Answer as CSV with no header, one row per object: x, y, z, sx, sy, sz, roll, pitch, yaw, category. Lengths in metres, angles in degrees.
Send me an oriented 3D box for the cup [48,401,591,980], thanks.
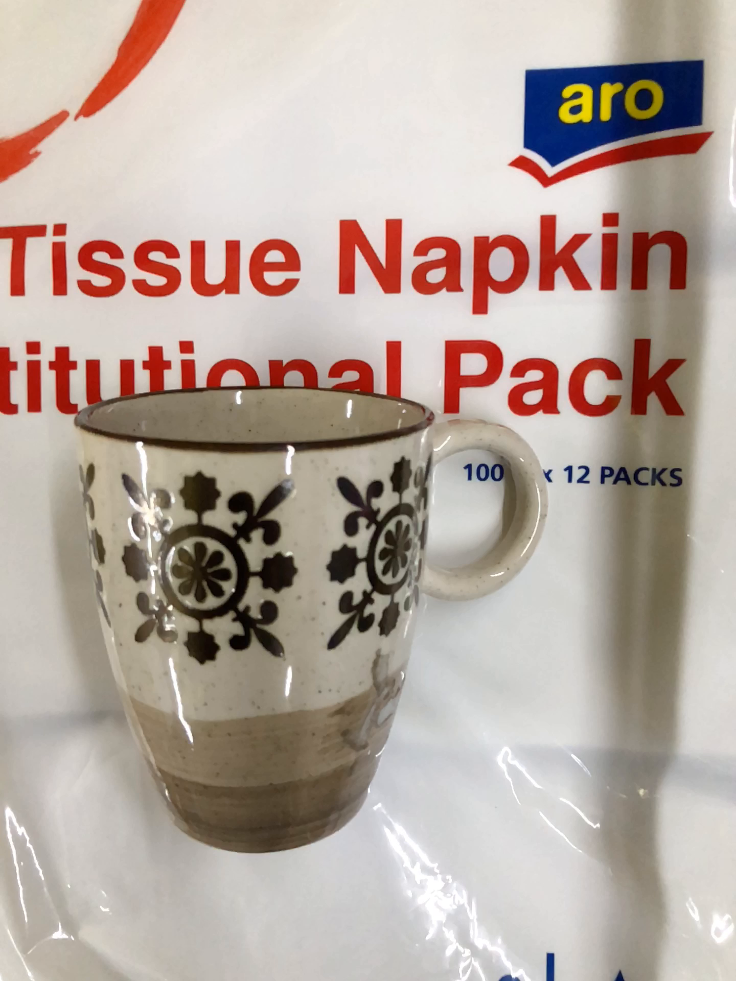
-0.017,0.039,0.190,0.100,0.070,0.110,-3,104,-23,cup
